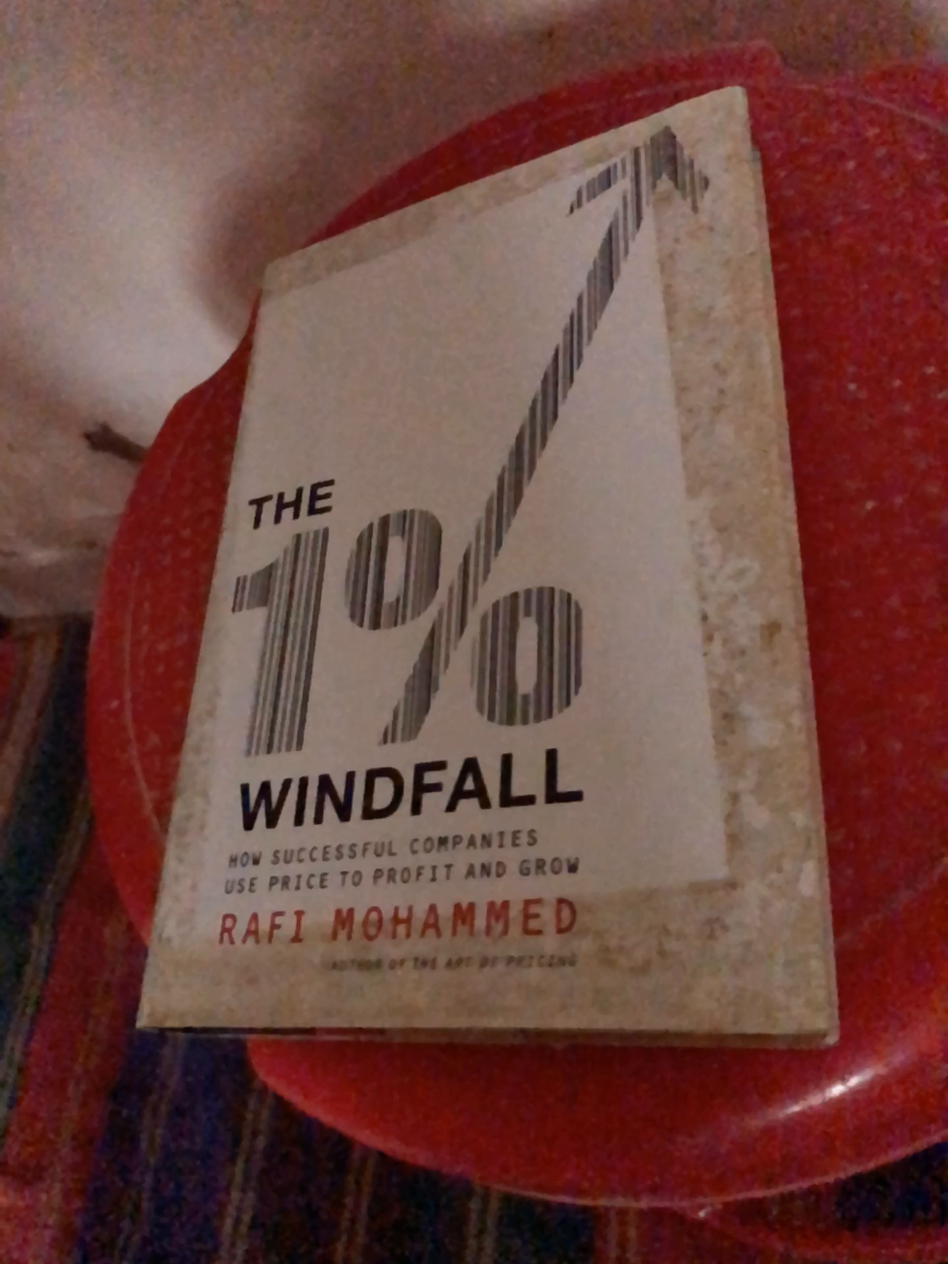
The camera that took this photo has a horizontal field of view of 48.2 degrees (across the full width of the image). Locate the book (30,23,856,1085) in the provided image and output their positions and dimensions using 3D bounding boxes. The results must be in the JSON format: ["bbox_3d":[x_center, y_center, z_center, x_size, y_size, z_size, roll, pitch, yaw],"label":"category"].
[{"bbox_3d":[-0.010,-0.024,0.283,0.181,0.040,0.260,-10,62,25],"label":"book"}]
